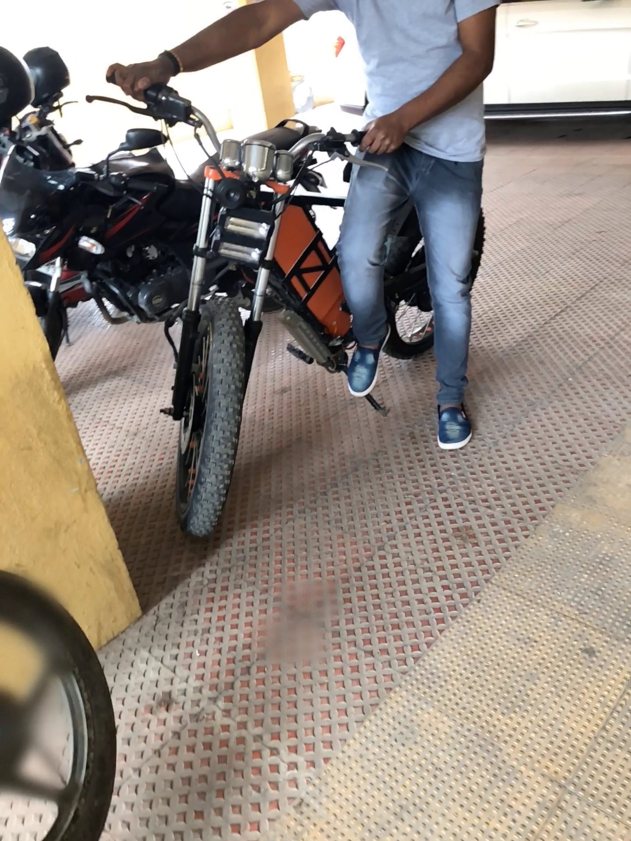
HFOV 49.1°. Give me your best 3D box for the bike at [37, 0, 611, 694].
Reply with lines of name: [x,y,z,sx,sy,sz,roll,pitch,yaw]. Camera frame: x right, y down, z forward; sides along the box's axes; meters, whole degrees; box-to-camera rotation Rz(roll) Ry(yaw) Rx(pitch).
bike: [0.239,-0.429,2.150,0.754,1.185,1.757,13,40,35]
